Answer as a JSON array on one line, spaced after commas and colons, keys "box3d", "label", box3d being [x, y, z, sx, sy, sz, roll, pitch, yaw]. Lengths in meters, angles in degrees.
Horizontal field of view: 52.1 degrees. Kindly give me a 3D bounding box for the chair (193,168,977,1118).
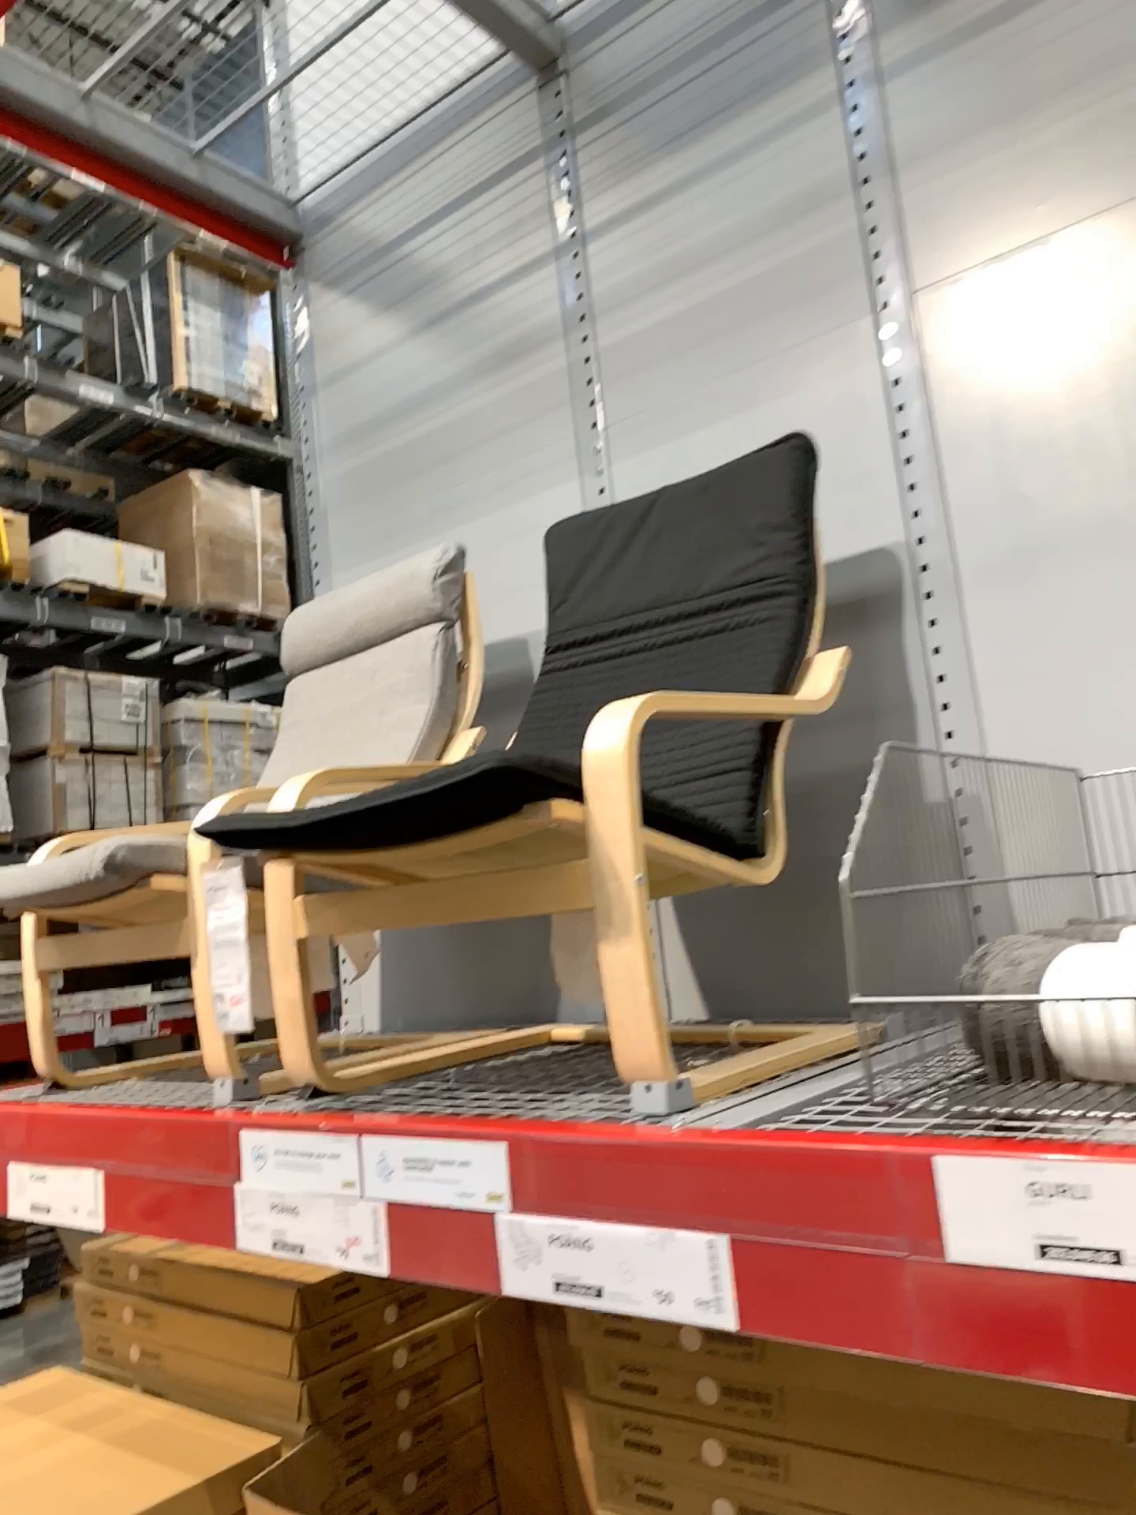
[{"box3d": [0.039, -0.071, 1.744, 0.720, 1.012, 0.839, -12, -10, 37], "label": "chair"}]
